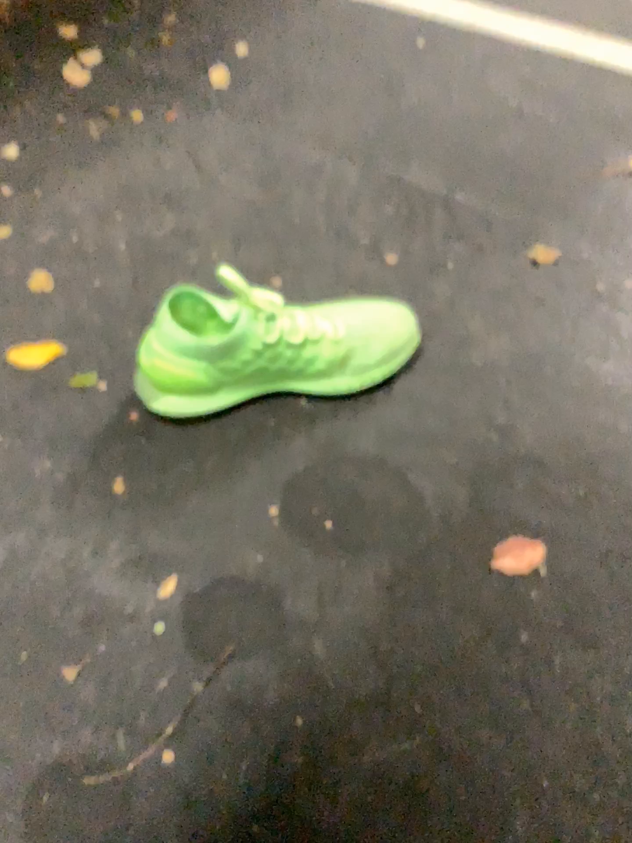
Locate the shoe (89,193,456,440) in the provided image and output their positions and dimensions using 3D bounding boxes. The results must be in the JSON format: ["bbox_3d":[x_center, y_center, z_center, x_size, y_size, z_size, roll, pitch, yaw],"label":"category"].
[{"bbox_3d":[-0.040,-0.104,0.718,0.320,0.150,0.130,-9,50,-2],"label":"shoe"}]
